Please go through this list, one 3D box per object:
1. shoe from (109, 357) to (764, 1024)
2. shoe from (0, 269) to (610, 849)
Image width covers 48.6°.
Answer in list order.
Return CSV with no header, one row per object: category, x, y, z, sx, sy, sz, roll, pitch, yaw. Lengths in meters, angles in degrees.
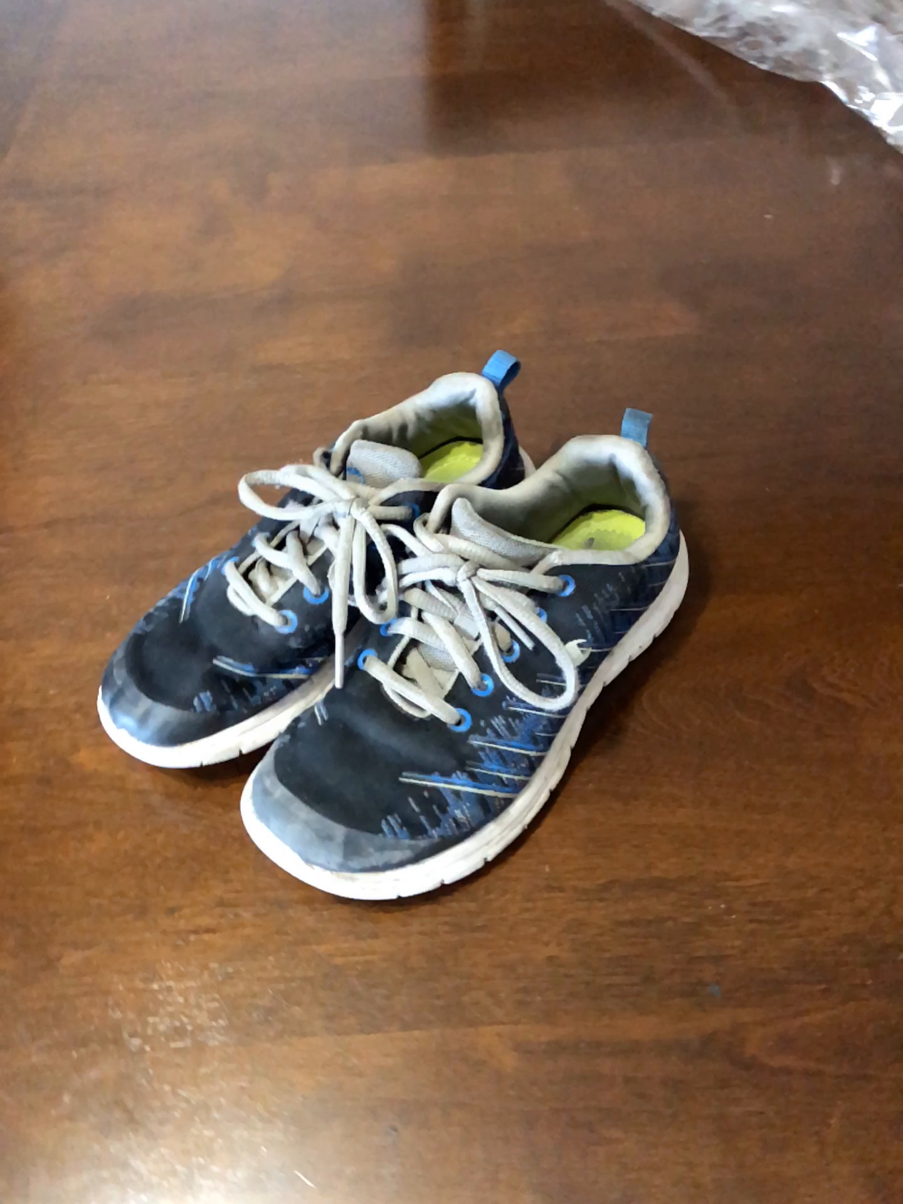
shoe,0.006,0.022,0.381,0.100,0.090,0.230,33,61,25
shoe,-0.050,-0.026,0.402,0.220,0.090,0.100,-38,60,-23
